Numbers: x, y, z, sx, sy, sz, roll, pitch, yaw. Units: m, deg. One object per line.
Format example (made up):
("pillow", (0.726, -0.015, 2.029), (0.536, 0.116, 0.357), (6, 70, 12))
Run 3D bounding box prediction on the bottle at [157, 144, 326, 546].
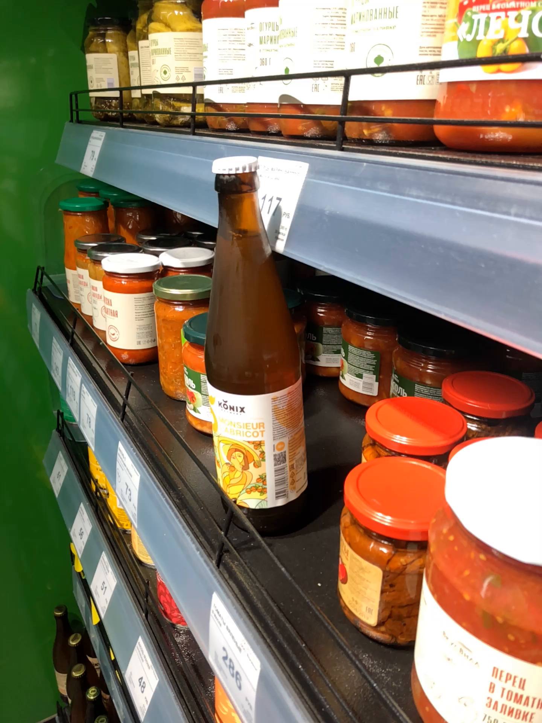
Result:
("bottle", (-0.013, -0.009, 0.397), (0.070, 0.249, 0.070), (-2, 24, 1))
